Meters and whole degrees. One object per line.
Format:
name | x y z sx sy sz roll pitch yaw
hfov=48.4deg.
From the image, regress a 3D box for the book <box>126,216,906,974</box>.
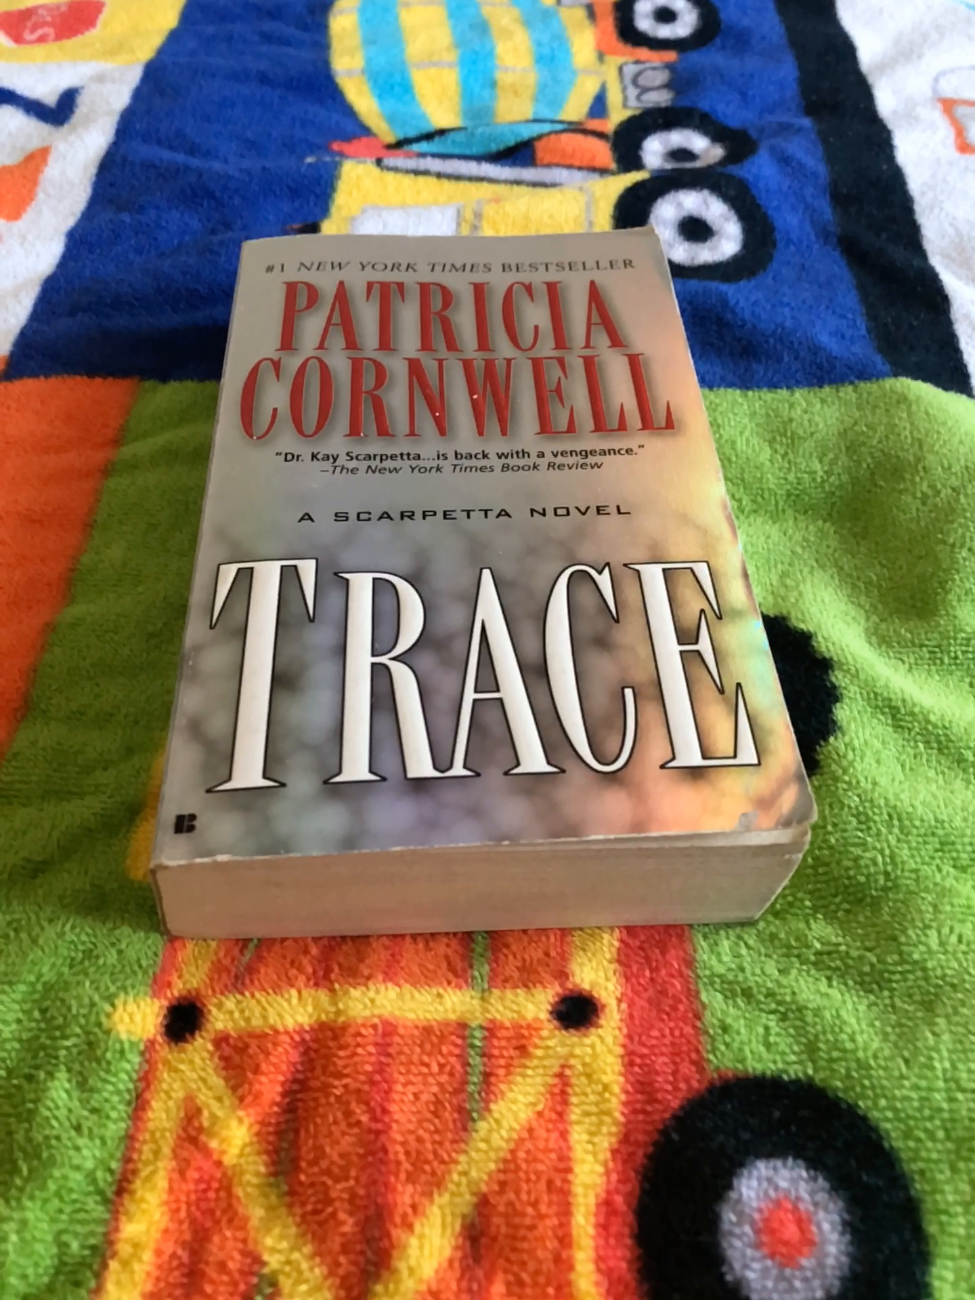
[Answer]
book | 0.000 -0.026 0.238 0.120 0.040 0.181 0 51 -5
